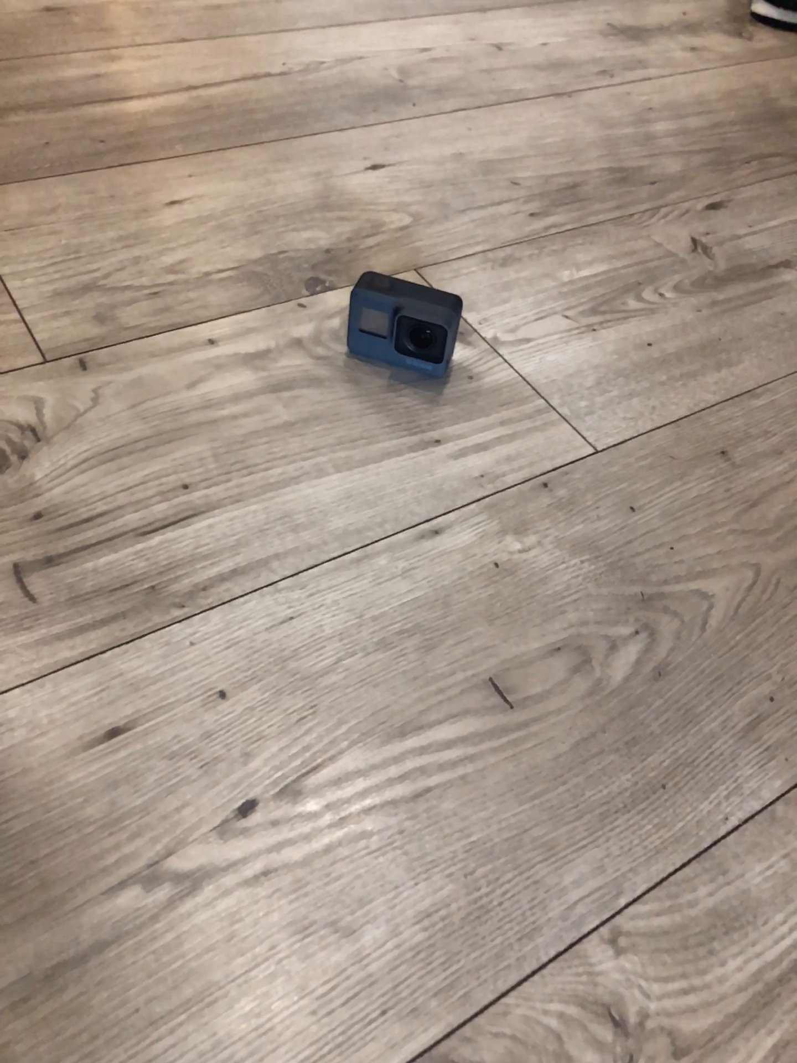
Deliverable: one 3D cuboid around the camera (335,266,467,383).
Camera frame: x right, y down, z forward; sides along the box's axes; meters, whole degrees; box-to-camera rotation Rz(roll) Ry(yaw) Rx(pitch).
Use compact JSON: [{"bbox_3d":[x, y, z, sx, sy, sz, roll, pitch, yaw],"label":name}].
[{"bbox_3d":[0.001,-0.118,0.502,0.065,0.040,0.032,16,49,6],"label":"camera"}]
